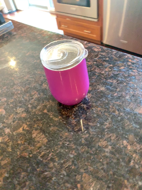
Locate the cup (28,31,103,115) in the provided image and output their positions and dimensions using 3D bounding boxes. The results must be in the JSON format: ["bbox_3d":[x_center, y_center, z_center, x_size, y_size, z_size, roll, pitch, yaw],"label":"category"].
[{"bbox_3d":[0.000,-0.043,0.281,0.090,0.109,0.090,-6,48,6],"label":"cup"}]
